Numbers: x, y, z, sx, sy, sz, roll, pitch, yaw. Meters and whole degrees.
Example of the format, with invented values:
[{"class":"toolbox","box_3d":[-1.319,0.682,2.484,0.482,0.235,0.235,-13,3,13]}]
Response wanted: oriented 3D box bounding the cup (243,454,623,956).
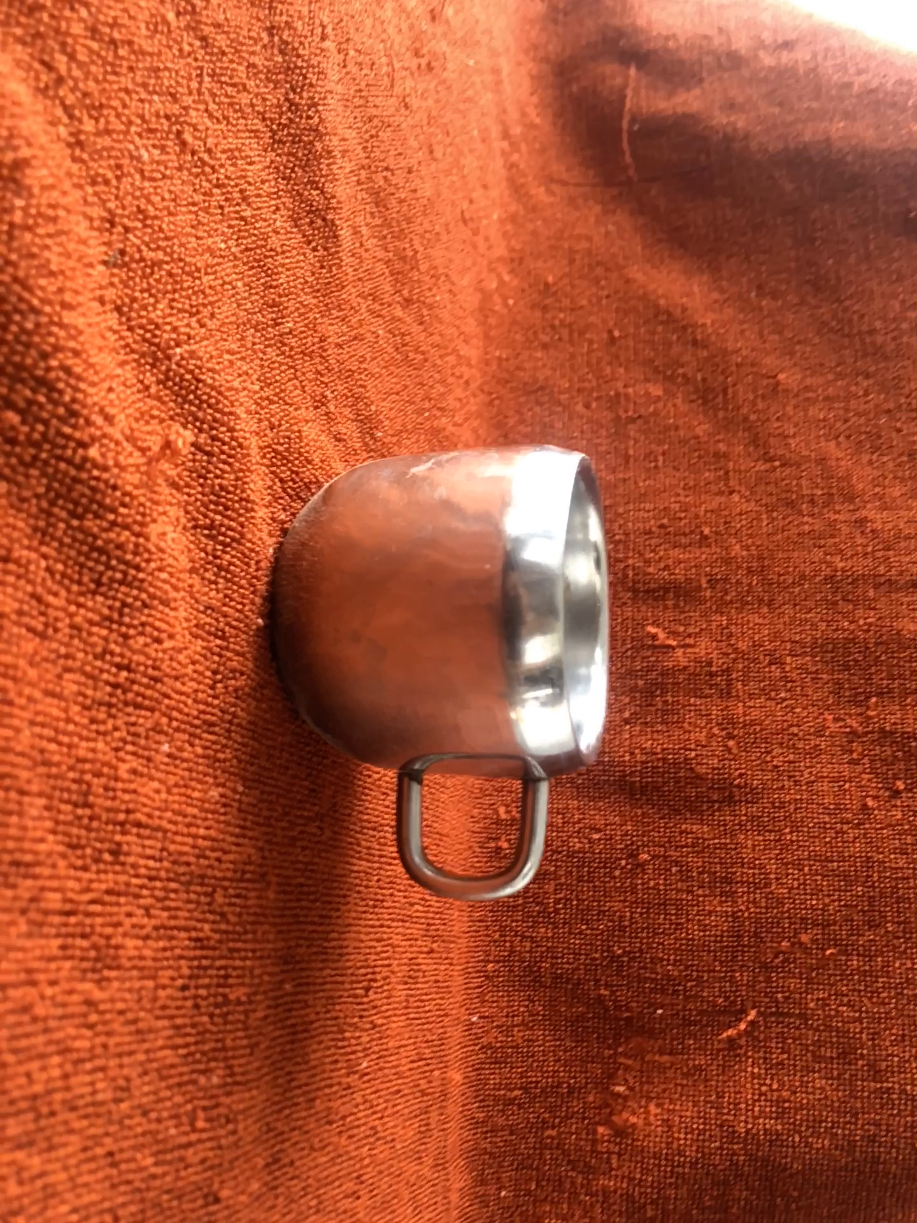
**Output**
[{"class":"cup","box_3d":[-0.001,0.015,0.217,0.060,0.060,0.090,-22,110,-72]}]
